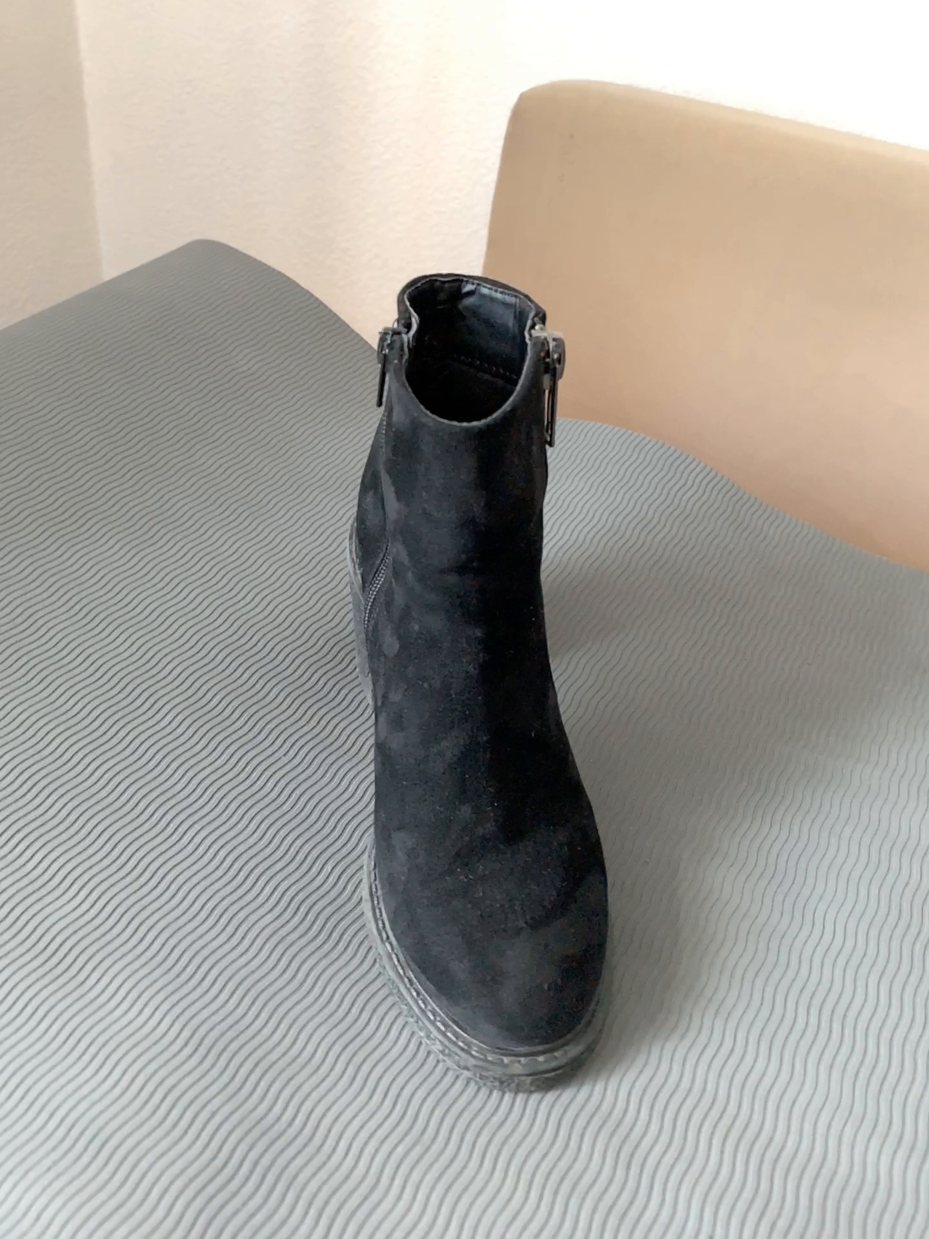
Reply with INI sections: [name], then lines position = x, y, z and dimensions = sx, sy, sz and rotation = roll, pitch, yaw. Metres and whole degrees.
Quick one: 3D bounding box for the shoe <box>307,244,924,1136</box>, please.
[shoe]
position = 0.009, 0.004, 0.328
dimensions = 0.098, 0.179, 0.241
rotation = -2, 38, -14
